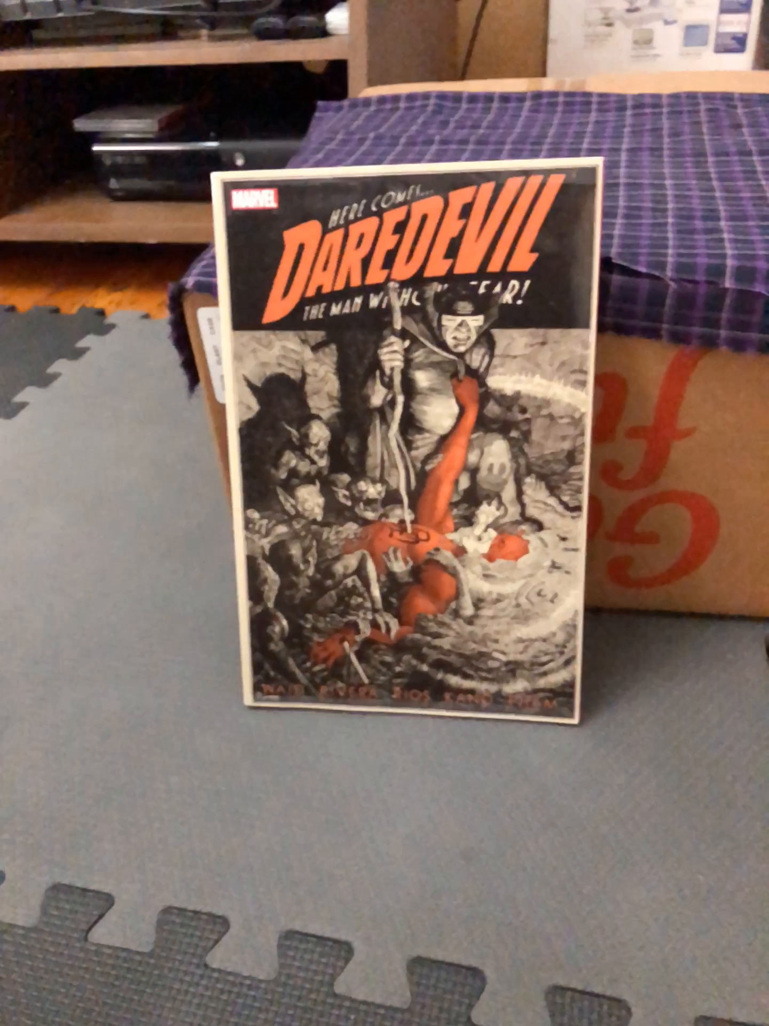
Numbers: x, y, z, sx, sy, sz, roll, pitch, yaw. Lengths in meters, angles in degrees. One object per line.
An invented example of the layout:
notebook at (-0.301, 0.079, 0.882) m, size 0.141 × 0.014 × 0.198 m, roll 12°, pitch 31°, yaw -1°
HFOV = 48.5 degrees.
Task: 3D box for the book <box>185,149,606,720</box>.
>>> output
book at (0.005, -0.026, 0.360) m, size 0.160 × 0.229 × 0.020 m, roll 1°, pitch 15°, yaw 8°
